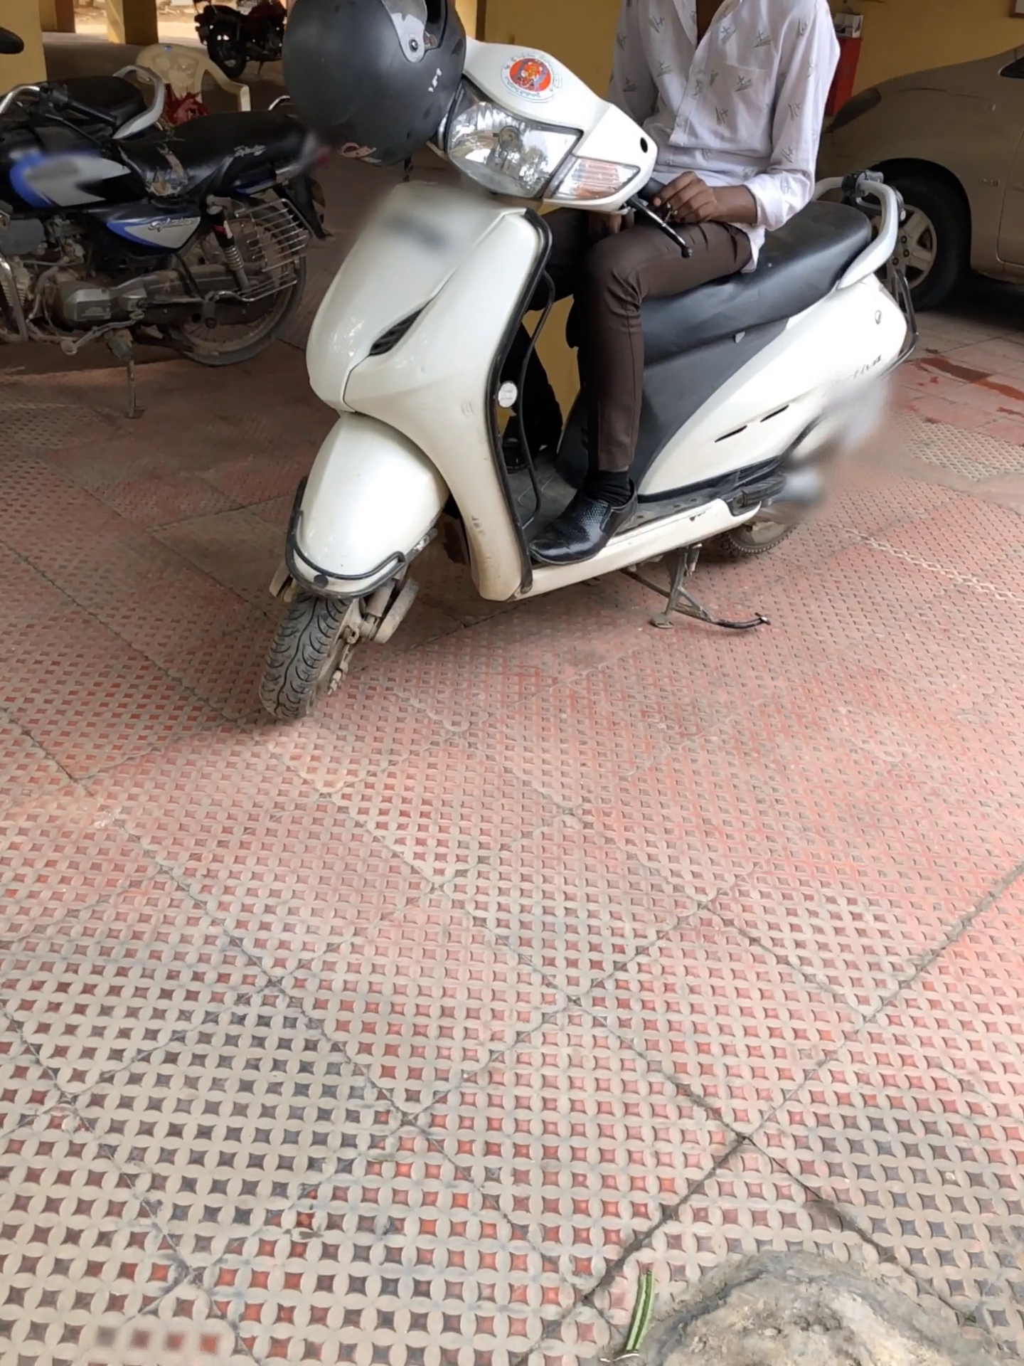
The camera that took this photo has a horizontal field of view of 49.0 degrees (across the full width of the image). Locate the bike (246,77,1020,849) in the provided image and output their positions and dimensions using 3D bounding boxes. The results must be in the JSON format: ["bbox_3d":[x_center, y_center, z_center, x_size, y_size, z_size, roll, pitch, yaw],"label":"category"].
[{"bbox_3d":[0.250,-0.567,2.323,1.396,1.108,0.658,-25,42,-37],"label":"bike"}]
